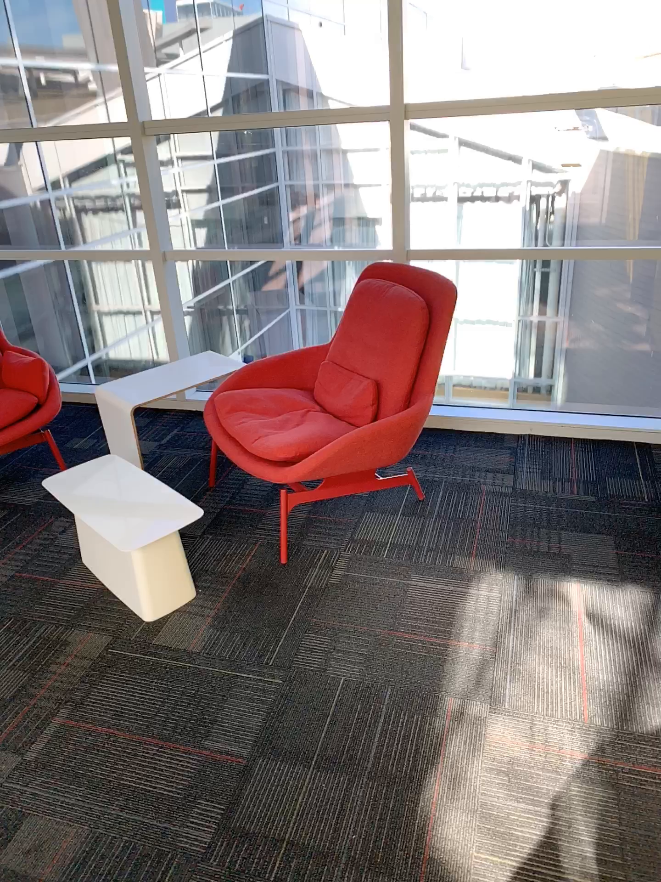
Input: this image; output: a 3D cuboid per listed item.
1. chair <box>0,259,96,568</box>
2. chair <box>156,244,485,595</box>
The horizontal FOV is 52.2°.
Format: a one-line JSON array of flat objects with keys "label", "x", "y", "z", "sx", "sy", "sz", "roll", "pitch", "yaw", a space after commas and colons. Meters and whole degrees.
[{"label": "chair", "x": -1.792, "y": -0.198, "z": 3.188, "sx": 0.870, "sy": 1.054, "sz": 0.825, "roll": -22, "pitch": 31, "yaw": -32}, {"label": "chair", "x": -0.032, "y": -0.177, "z": 2.773, "sx": 0.920, "sy": 0.994, "sz": 0.875, "roll": -20, "pitch": 30, "yaw": -30}]
